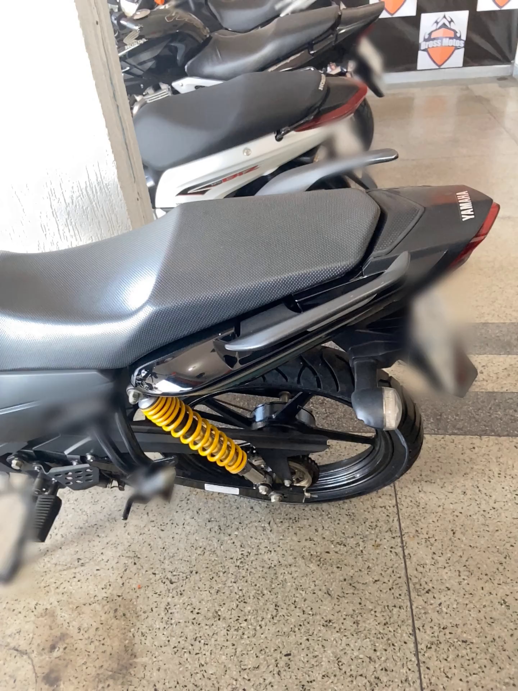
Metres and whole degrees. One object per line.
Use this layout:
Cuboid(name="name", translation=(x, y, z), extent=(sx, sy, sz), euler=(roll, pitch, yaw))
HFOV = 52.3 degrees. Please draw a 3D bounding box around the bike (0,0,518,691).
Cuboid(name="bike", translation=(-0.546, 0.165, 0.988), extent=(2.002, 1.331, 0.820), euler=(-4, 37, 3))
